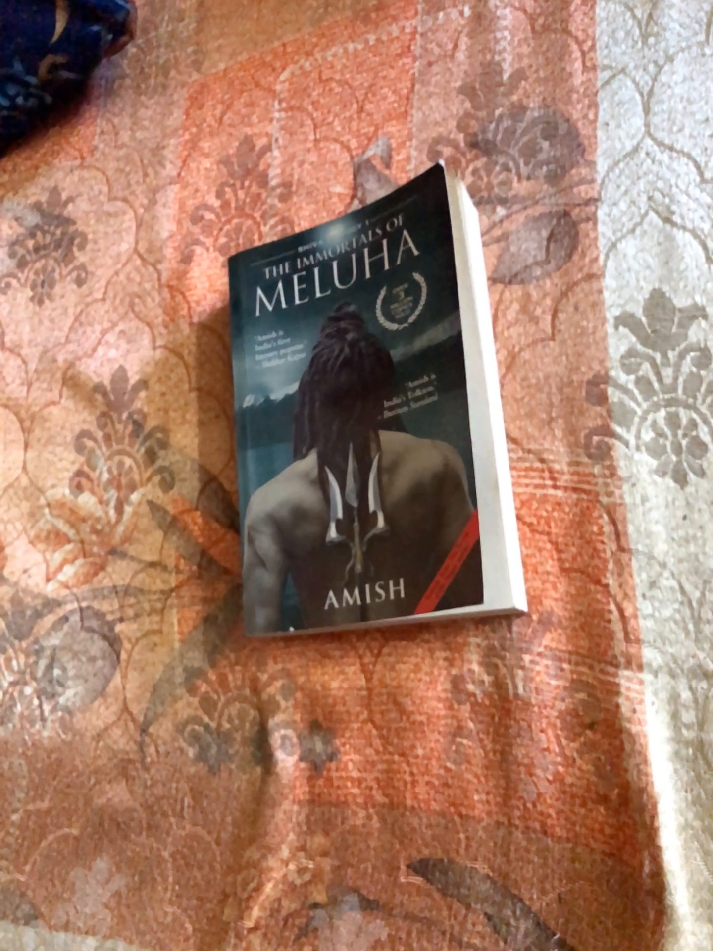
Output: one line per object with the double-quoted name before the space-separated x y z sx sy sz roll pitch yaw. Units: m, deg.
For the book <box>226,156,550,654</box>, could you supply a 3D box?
"book" 0.008 -0.026 0.359 0.131 0.040 0.200 -9 74 25
